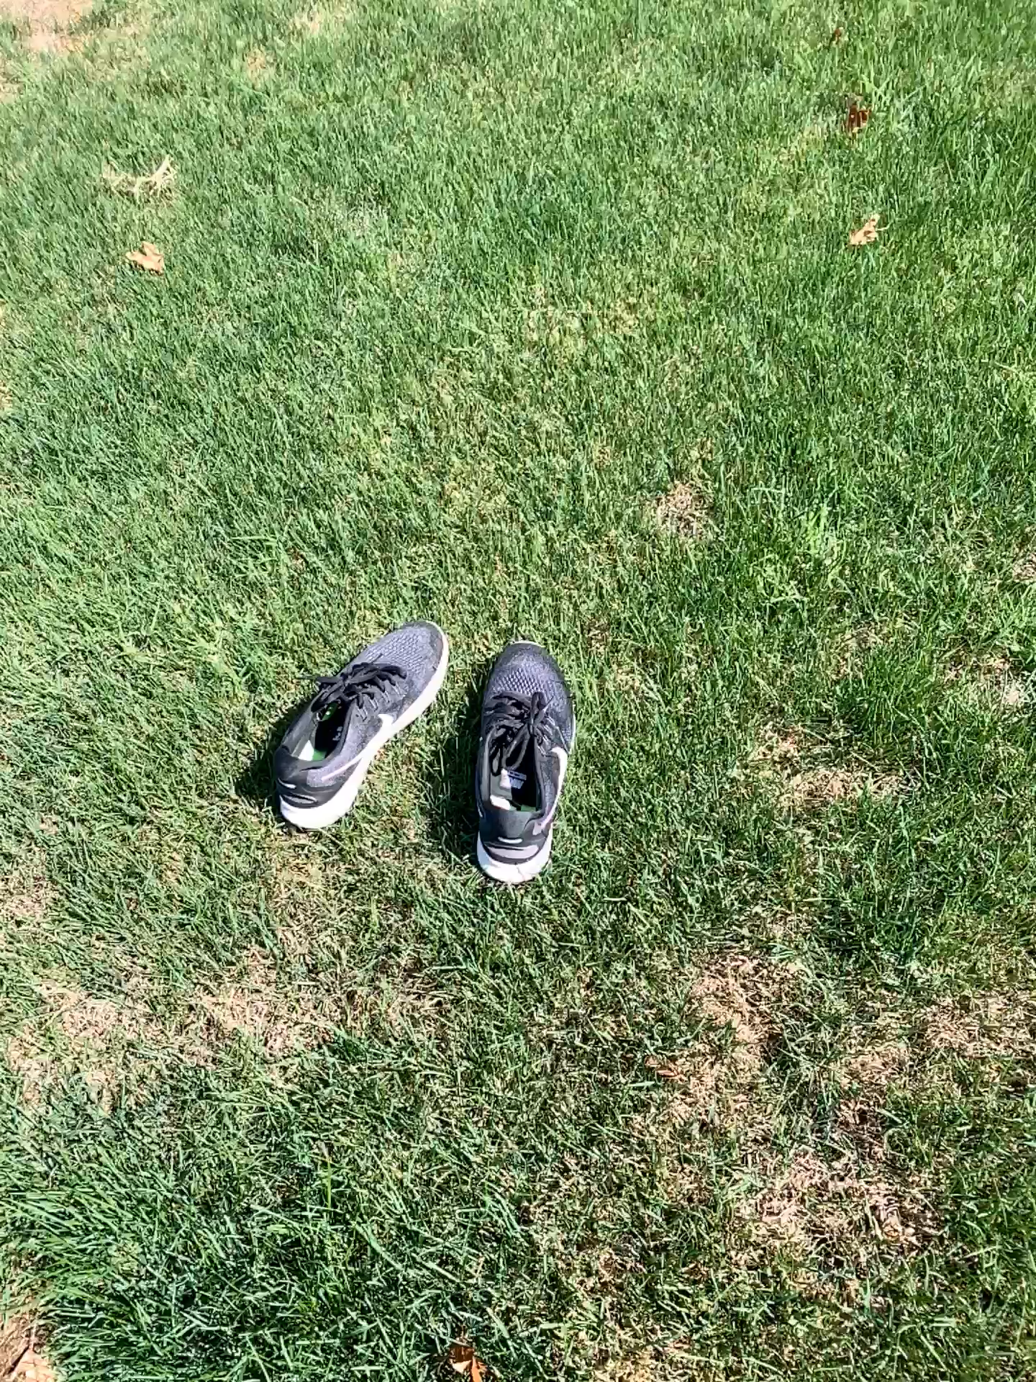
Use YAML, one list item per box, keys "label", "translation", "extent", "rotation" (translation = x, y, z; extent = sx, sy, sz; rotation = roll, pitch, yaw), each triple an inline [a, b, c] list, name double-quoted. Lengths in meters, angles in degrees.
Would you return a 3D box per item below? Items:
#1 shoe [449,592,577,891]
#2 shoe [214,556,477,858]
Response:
- label: "shoe"
  translation: [0.003, 0.047, 1.064]
  extent: [0.100, 0.130, 0.271]
  rotation: [0, 55, 6]
- label: "shoe"
  translation: [-0.168, 0.013, 1.110]
  extent: [0.100, 0.130, 0.280]
  rotation: [25, 61, 21]
